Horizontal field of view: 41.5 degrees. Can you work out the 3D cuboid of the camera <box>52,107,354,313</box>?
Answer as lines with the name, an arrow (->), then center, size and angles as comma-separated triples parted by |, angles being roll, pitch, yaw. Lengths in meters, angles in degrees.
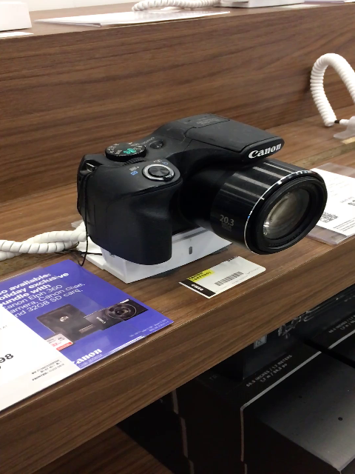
camera -> 0.017, -0.025, 0.289 | 0.129, 0.075, 0.093 | -24, 38, -30
